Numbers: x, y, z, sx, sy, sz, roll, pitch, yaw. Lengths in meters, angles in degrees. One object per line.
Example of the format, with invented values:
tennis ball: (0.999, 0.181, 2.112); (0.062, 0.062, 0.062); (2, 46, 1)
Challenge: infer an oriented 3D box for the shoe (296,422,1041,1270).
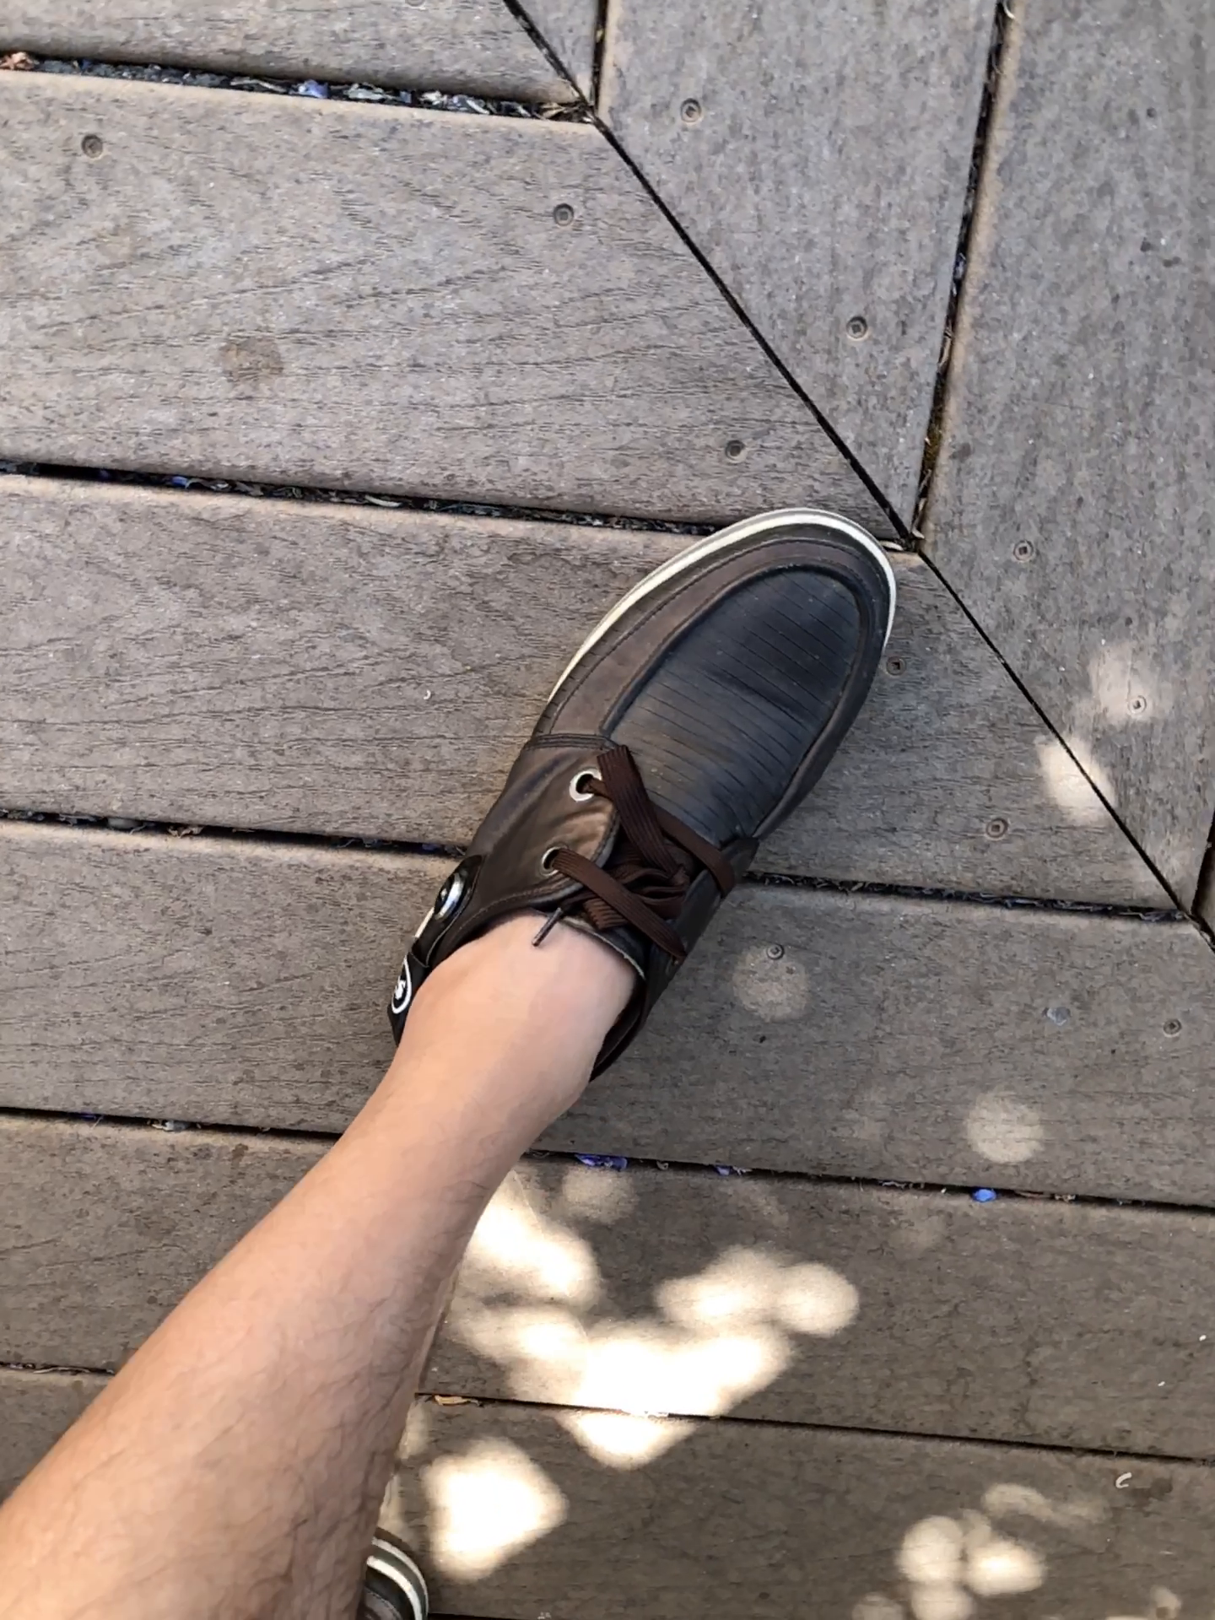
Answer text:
shoe: (0.011, 0.013, 0.514); (0.110, 0.110, 0.296); (32, 105, -14)
